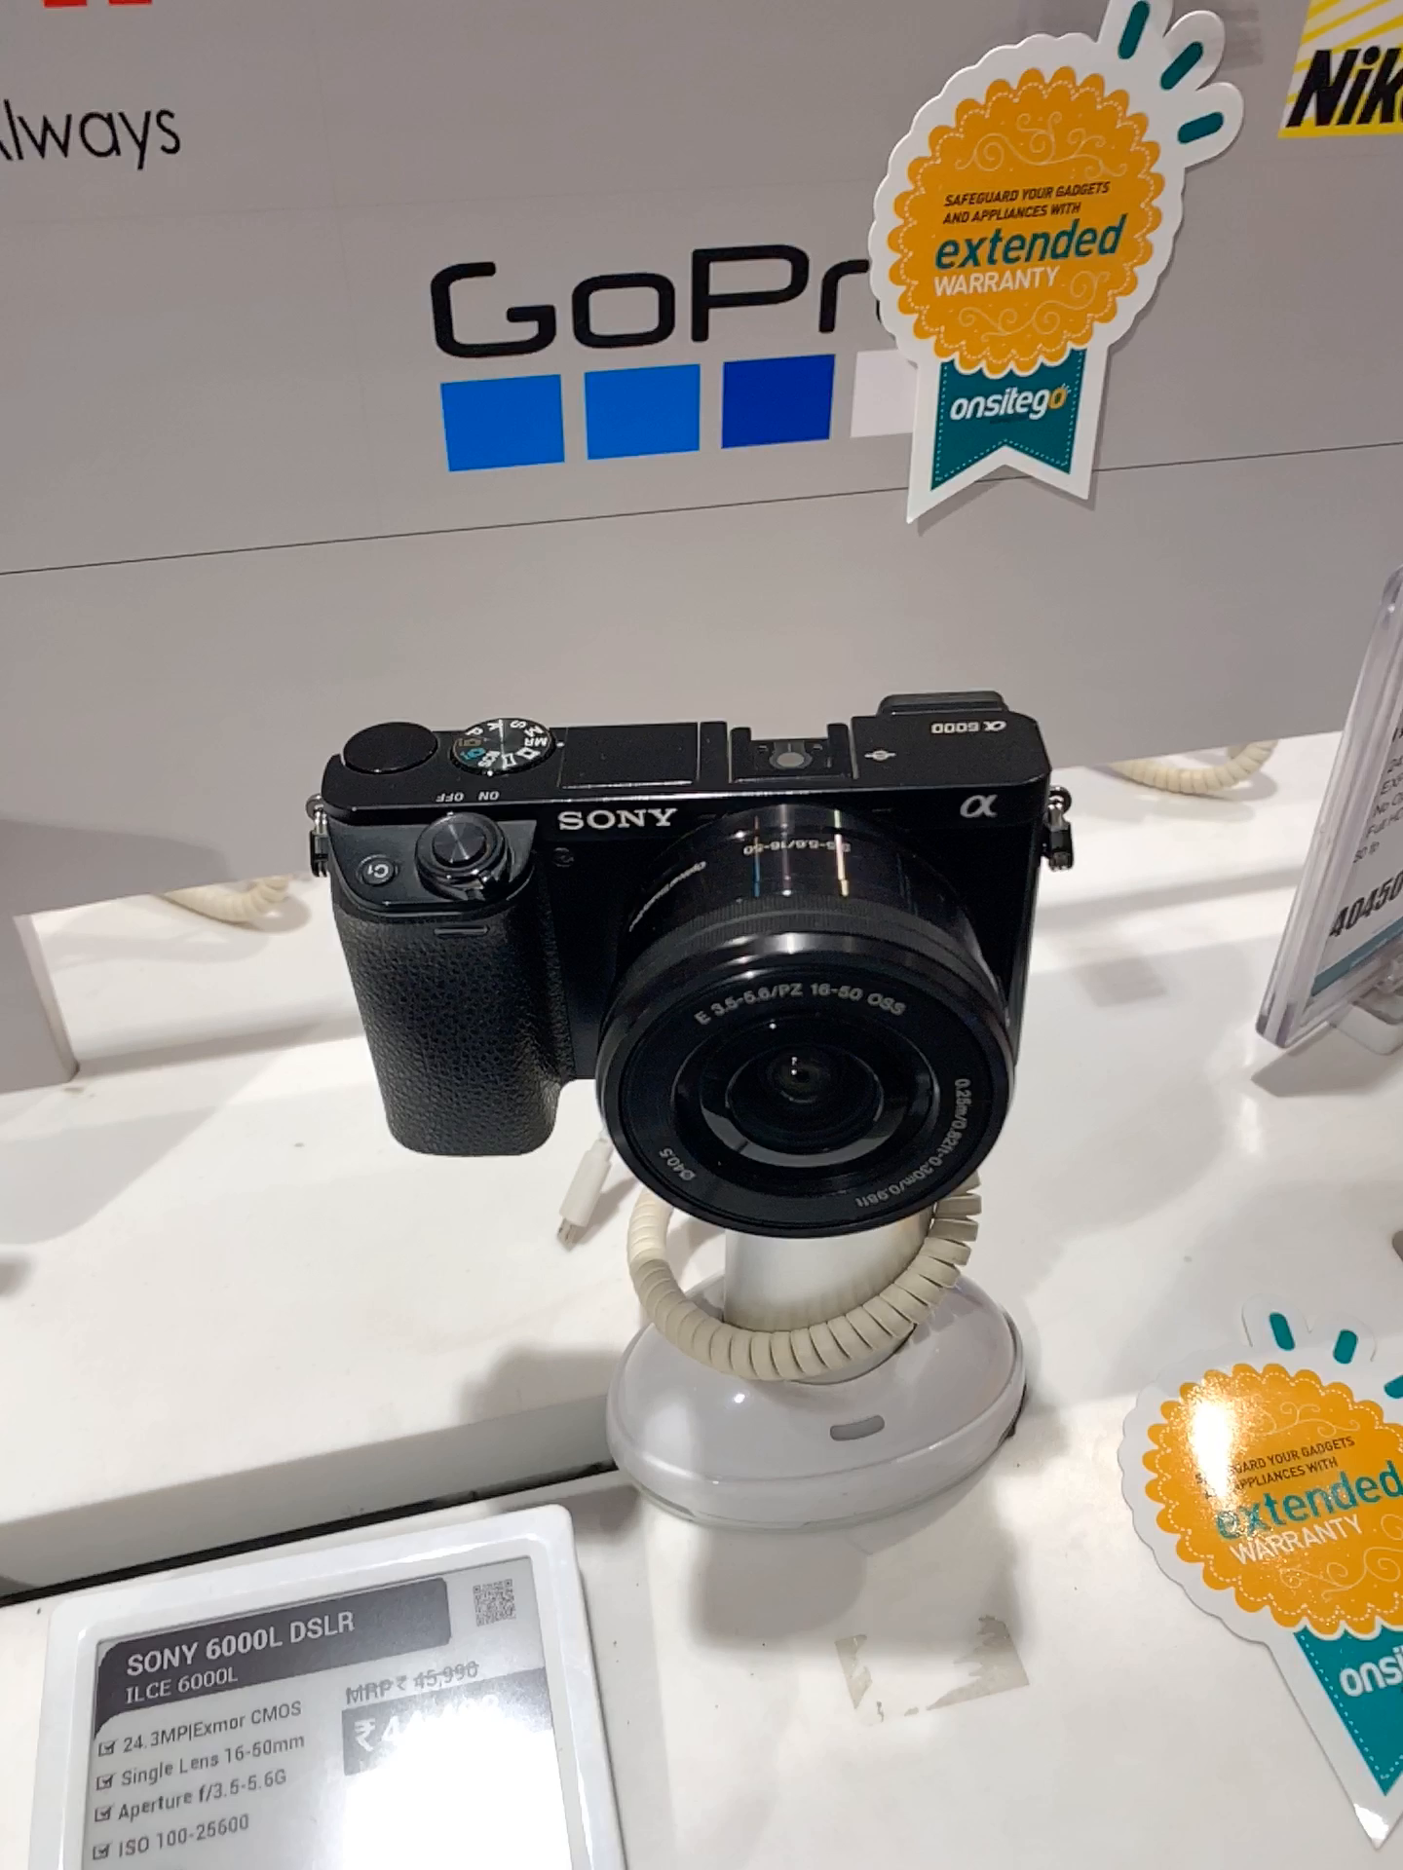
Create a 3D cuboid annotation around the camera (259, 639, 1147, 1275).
[{"bbox_3d":[0.000,0.005,0.242,0.120,0.090,0.050,-2,38,-3],"label":"camera"}]
